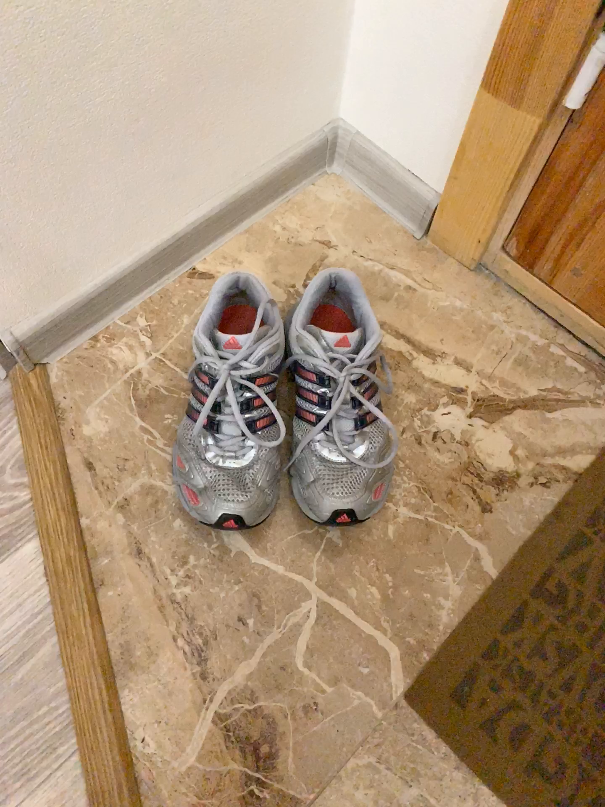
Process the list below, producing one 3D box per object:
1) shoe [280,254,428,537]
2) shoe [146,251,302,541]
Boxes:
[{"bbox_3d":[0.038,-0.010,0.567,0.110,0.090,0.240,2,63,-3],"label":"shoe"},{"bbox_3d":[-0.061,-0.010,0.557,0.110,0.090,0.240,3,63,-3],"label":"shoe"}]
